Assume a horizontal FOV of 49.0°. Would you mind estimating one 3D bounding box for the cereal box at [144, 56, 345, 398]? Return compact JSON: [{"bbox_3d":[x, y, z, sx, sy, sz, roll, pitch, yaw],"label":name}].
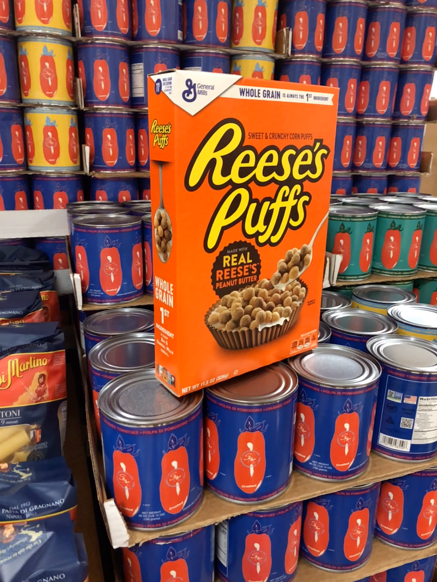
[{"bbox_3d":[0.030,-0.063,0.480,0.201,0.288,0.050,-13,22,-37],"label":"cereal box"}]
